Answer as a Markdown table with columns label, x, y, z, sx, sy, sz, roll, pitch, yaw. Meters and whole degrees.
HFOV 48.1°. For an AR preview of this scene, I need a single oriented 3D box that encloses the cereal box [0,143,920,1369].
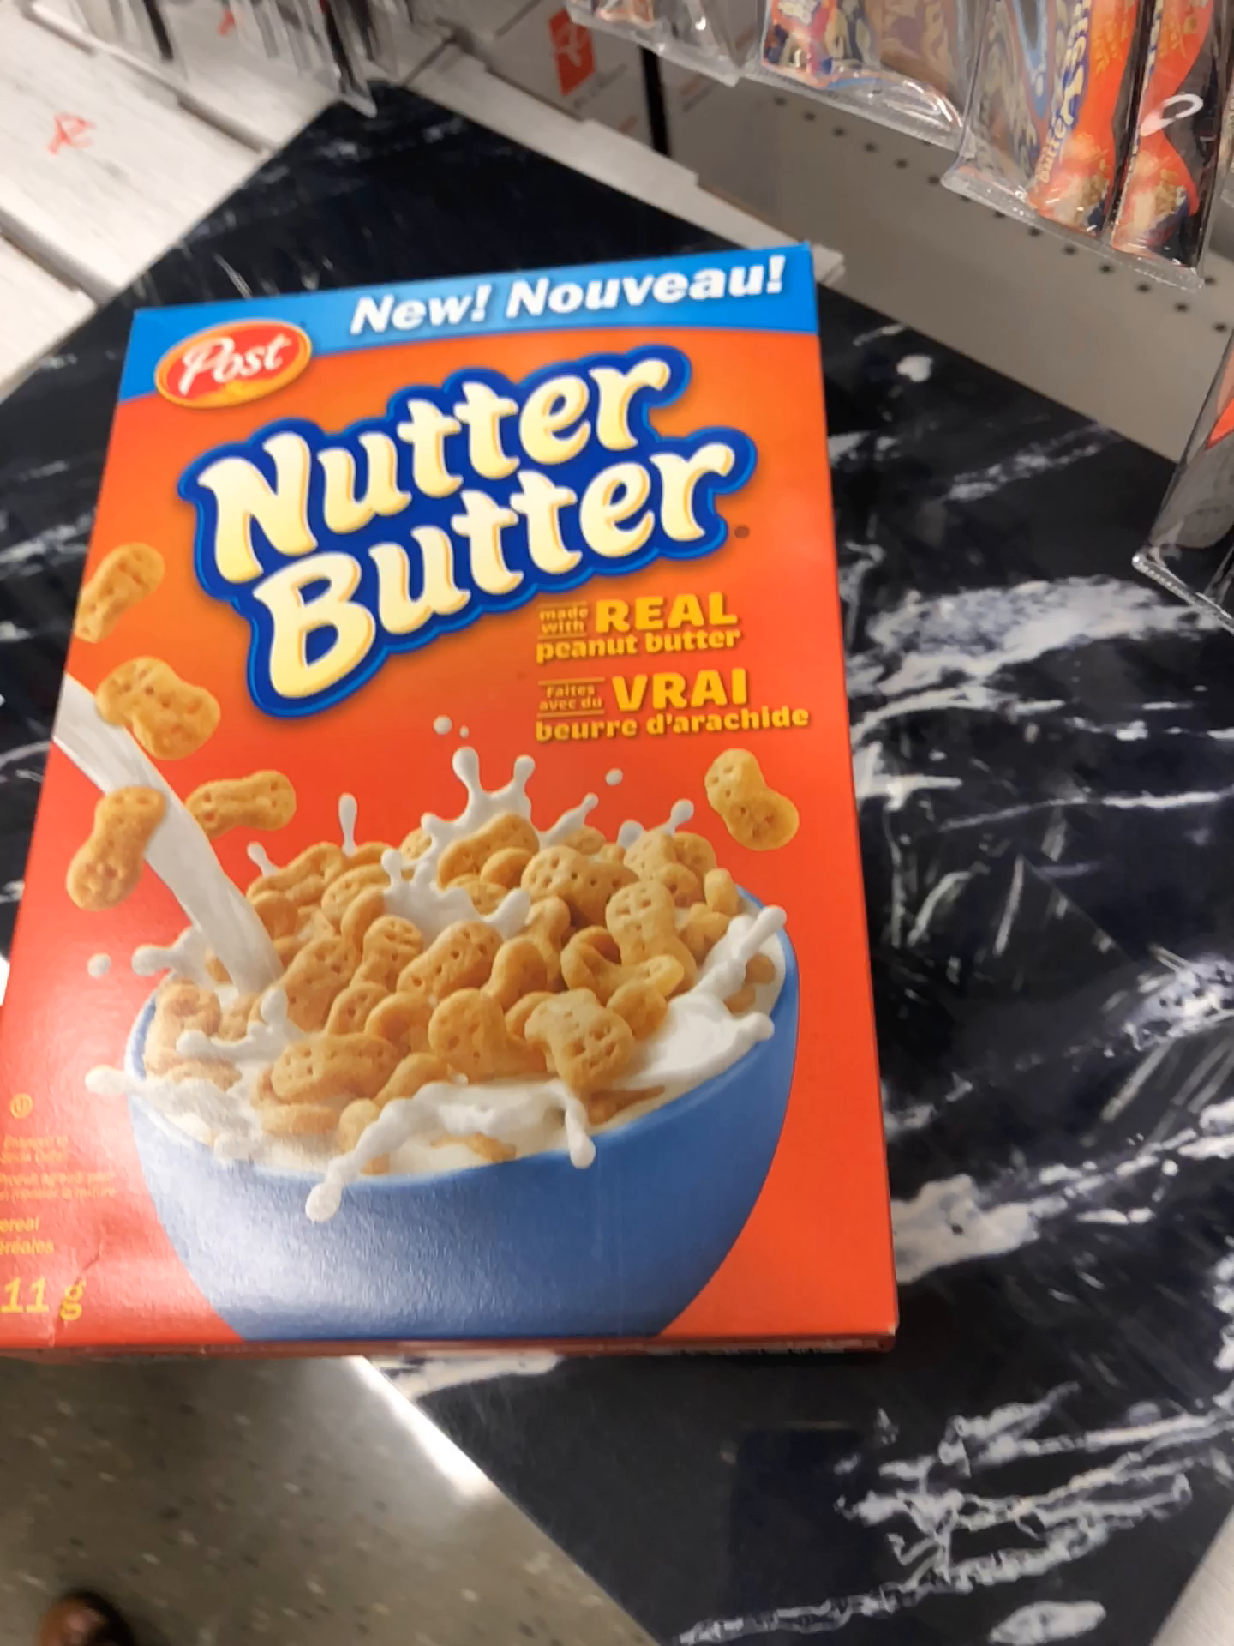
| label | x | y | z | sx | sy | sz | roll | pitch | yaw |
| --- | --- | --- | --- | --- | --- | --- | --- | --- | --- |
| cereal box | -0.046 | -0.027 | 0.346 | 0.210 | 0.050 | 0.300 | -4 | 66 | 8 |
